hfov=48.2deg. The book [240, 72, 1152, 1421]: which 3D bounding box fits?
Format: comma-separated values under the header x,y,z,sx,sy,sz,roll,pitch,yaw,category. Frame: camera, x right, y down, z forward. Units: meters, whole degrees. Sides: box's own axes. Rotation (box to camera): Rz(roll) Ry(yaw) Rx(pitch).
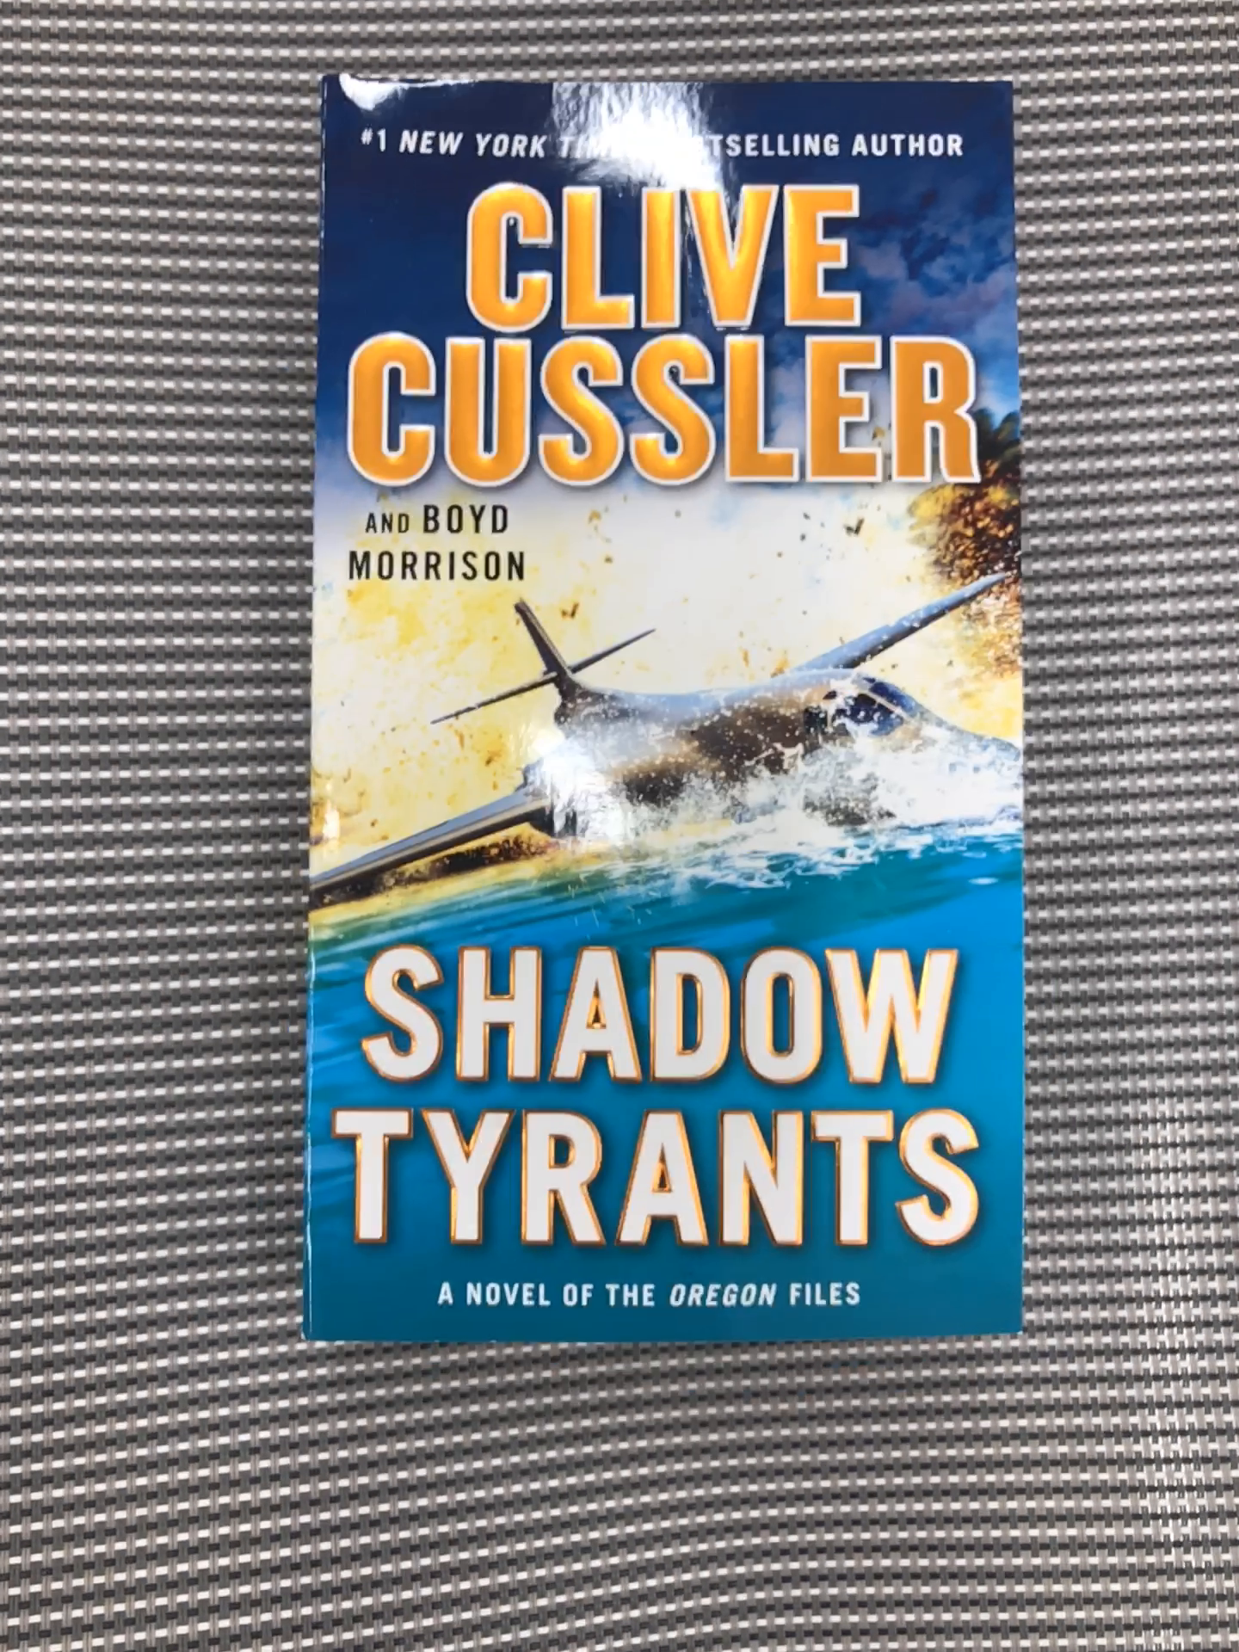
x,y,z,sx,sy,sz,roll,pitch,yaw,category
0.009,-0.012,0.217,0.120,0.060,0.180,0,86,-3,book
